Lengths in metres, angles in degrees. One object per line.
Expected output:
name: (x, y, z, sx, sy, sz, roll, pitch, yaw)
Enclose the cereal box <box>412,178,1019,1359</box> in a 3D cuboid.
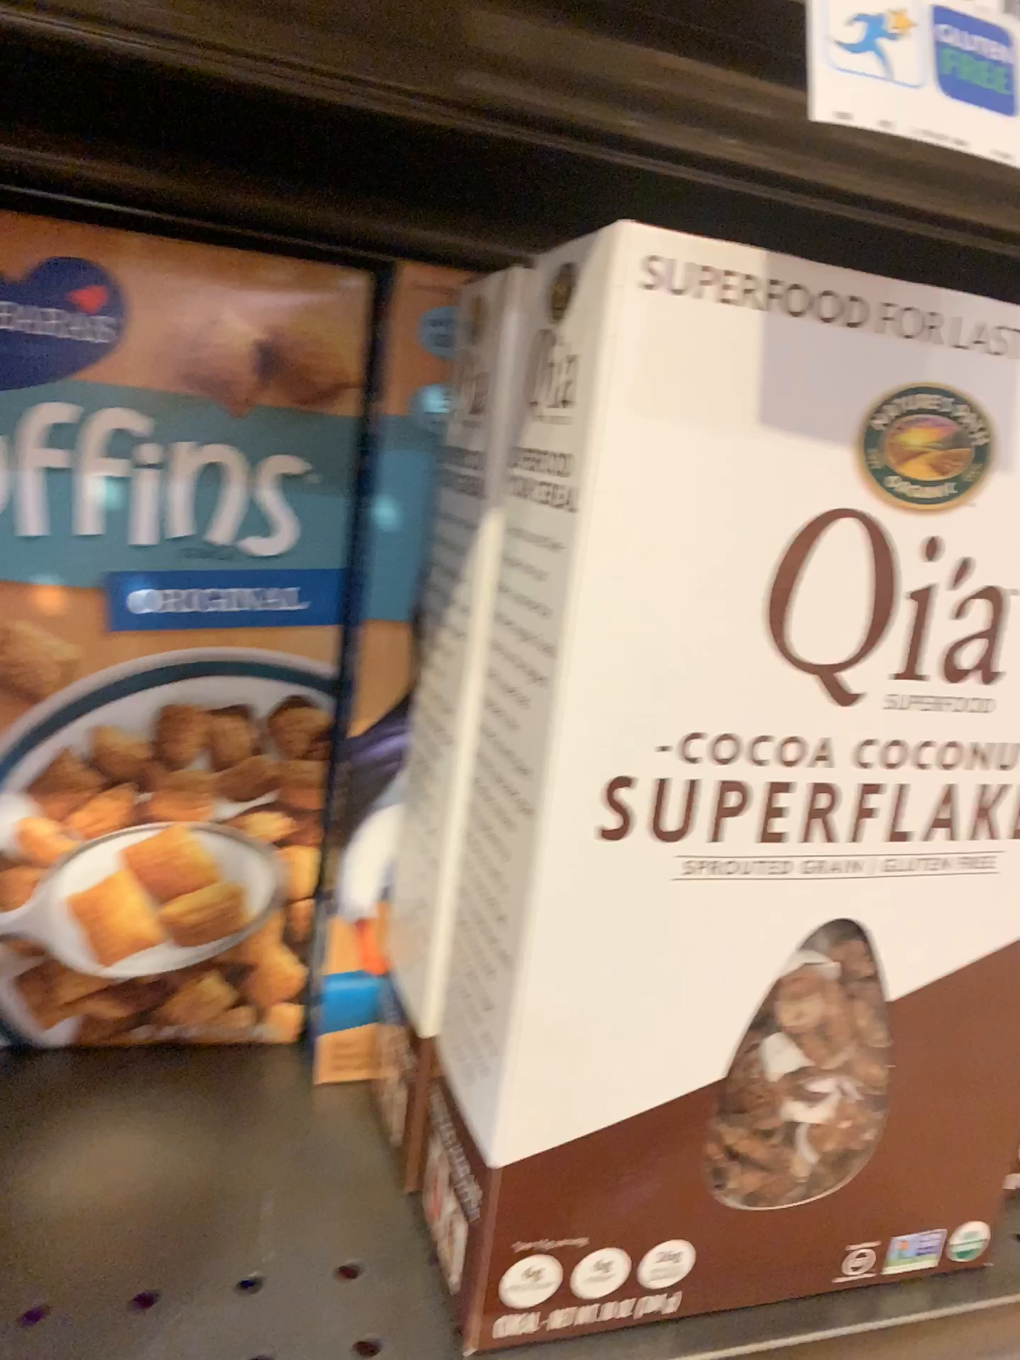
cereal box: (0.074, 0.030, 0.275, 0.160, 0.259, 0.060, 3, 12, -20)
